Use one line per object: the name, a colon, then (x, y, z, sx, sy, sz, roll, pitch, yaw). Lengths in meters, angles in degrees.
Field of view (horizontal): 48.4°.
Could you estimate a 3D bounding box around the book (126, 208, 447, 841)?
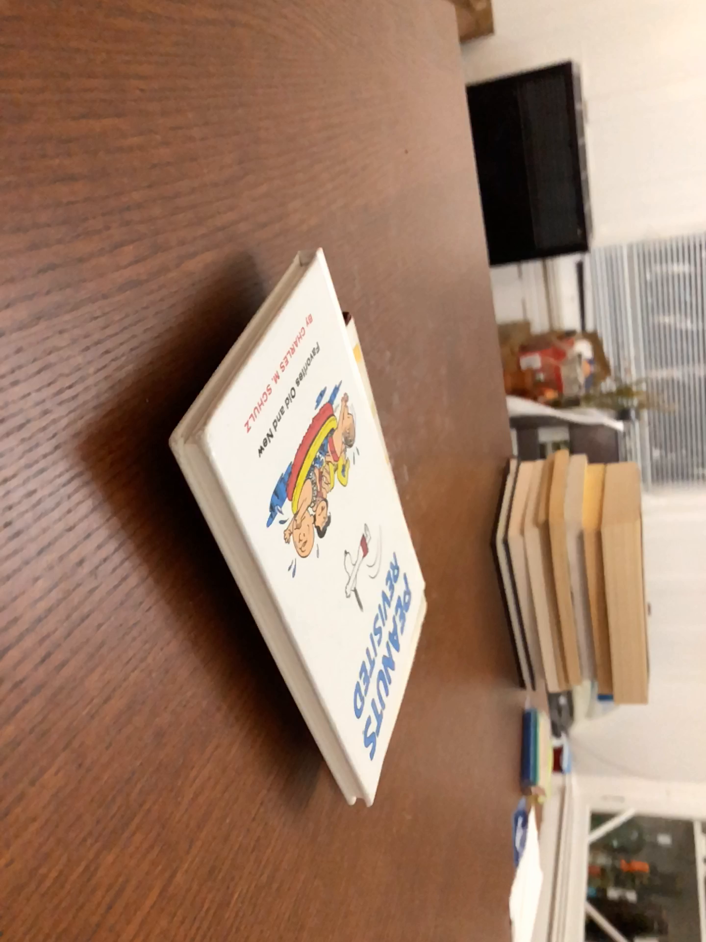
book: (-0.004, 0.024, 0.329, 0.161, 0.020, 0.210, -70, 149, -47)
